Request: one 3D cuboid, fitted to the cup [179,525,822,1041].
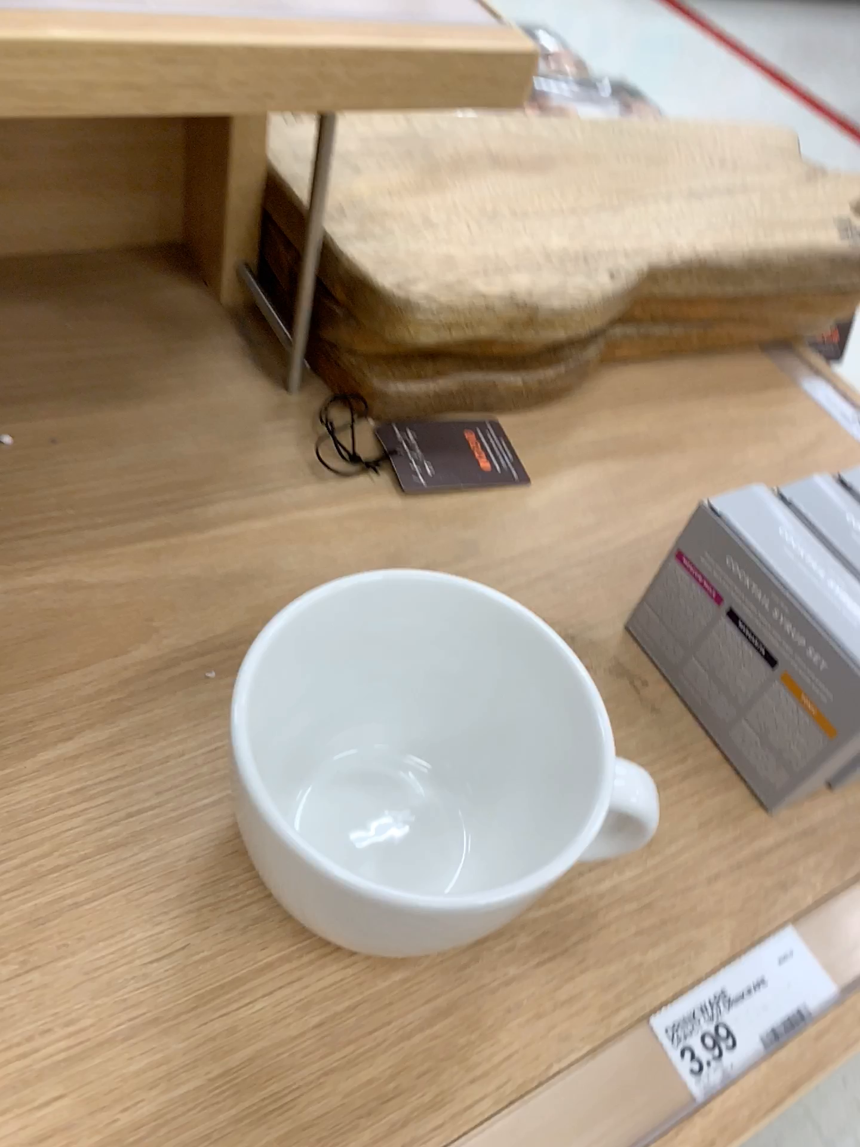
[{"bbox_3d":[0.009,0.061,0.250,0.140,0.080,0.110,6,50,-11],"label":"cup"}]
